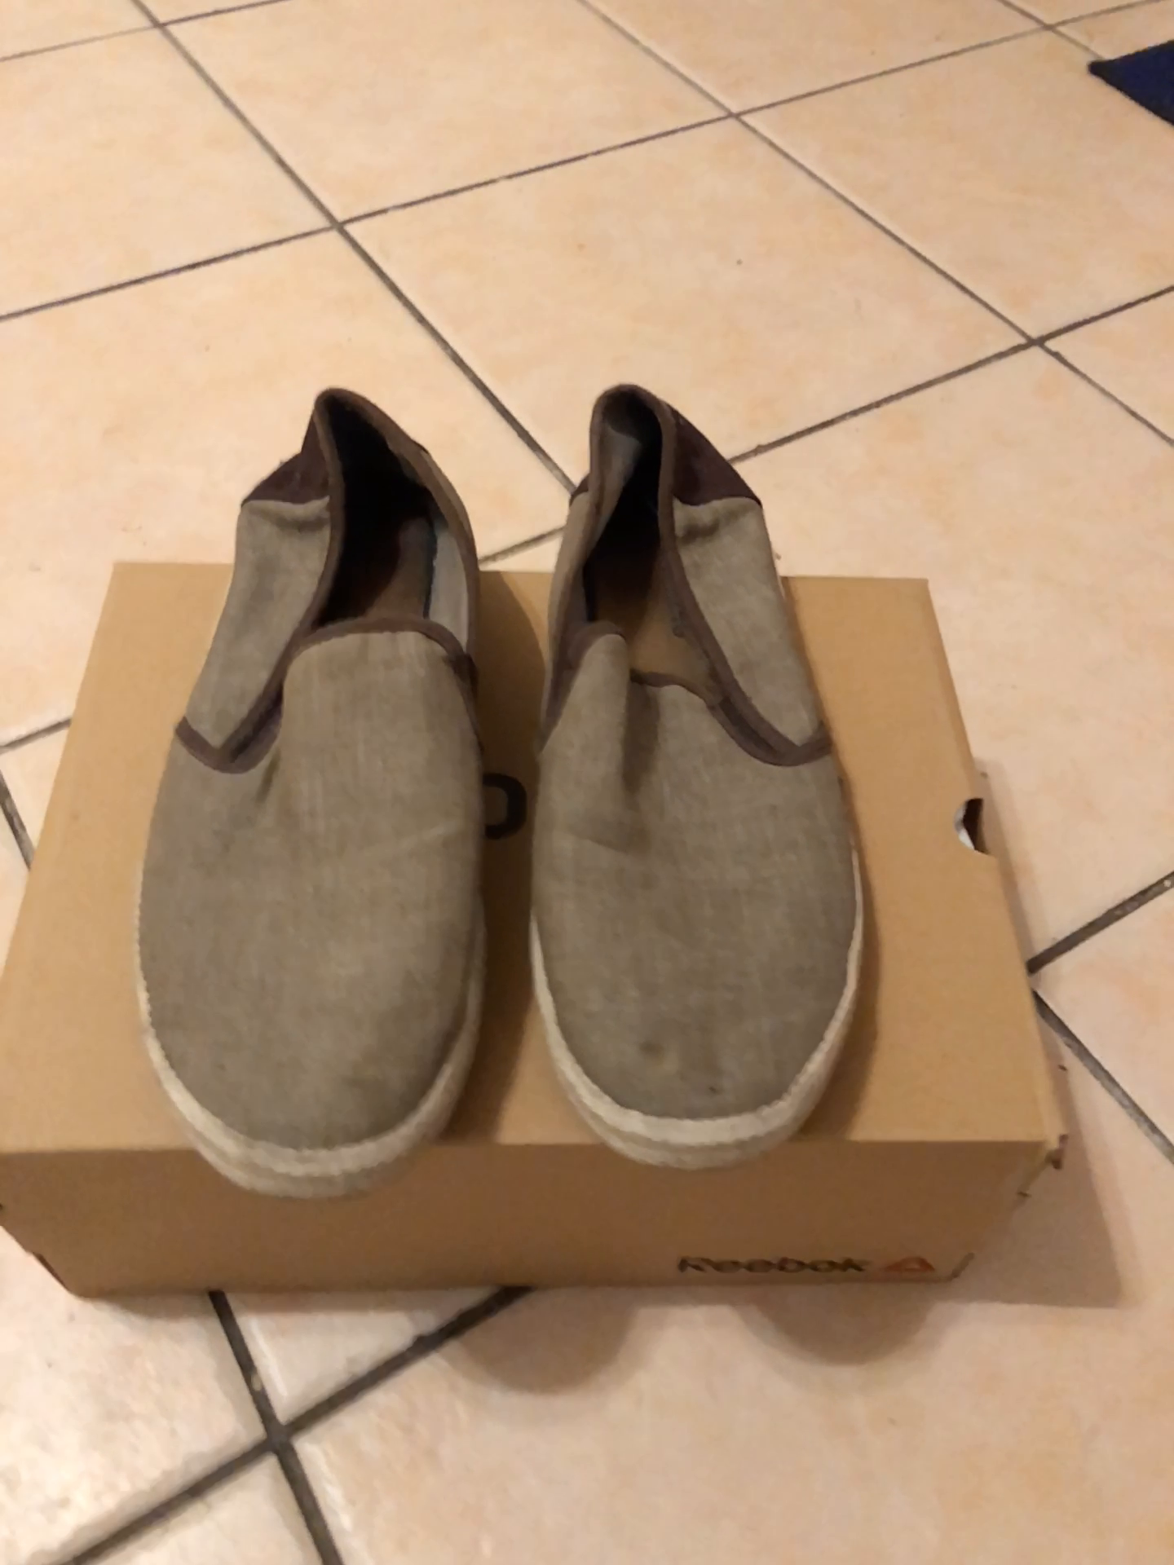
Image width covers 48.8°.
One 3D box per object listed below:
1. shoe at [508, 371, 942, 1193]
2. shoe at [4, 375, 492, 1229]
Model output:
[{"bbox_3d":[0.033,-0.018,0.409,0.100,0.070,0.272,2,51,-1],"label":"shoe"},{"bbox_3d":[-0.087,-0.015,0.420,0.110,0.070,0.294,0,52,-4],"label":"shoe"}]
